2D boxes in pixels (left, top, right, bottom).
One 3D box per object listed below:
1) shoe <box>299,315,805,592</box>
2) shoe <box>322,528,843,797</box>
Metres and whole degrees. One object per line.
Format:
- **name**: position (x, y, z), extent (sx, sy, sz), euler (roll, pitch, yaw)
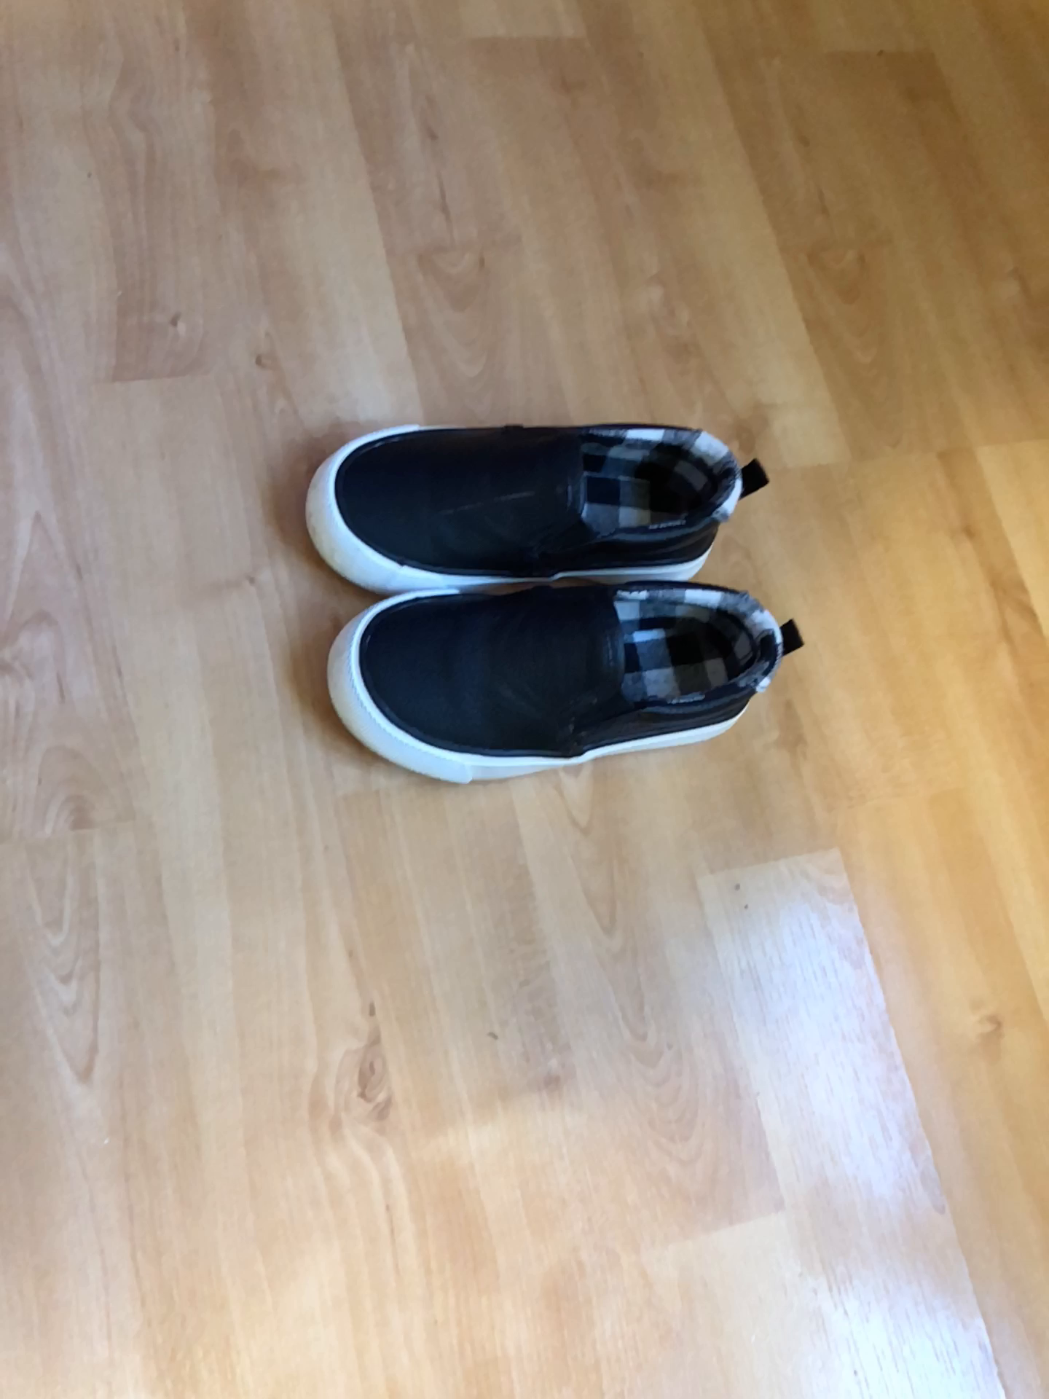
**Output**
- **shoe**: position (0.006, -0.091, 0.448), extent (0.180, 0.060, 0.080), euler (-1, 71, -12)
- **shoe**: position (0.017, -0.011, 0.434), extent (0.180, 0.060, 0.080), euler (0, 71, -12)
